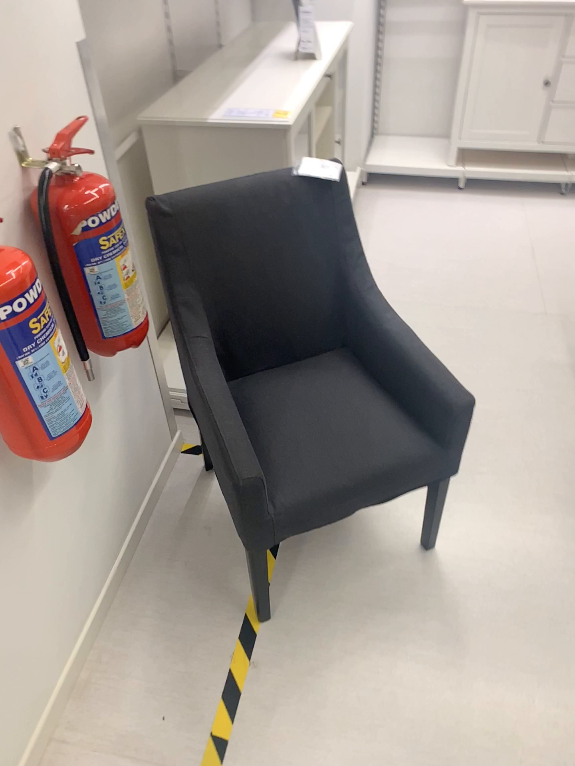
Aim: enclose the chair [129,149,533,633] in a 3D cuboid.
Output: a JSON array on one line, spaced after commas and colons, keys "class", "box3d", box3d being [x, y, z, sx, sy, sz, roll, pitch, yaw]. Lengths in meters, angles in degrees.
[{"class": "chair", "box3d": [0.056, 0.019, 1.494, 0.610, 0.916, 0.632, -17, 43, -16]}]
